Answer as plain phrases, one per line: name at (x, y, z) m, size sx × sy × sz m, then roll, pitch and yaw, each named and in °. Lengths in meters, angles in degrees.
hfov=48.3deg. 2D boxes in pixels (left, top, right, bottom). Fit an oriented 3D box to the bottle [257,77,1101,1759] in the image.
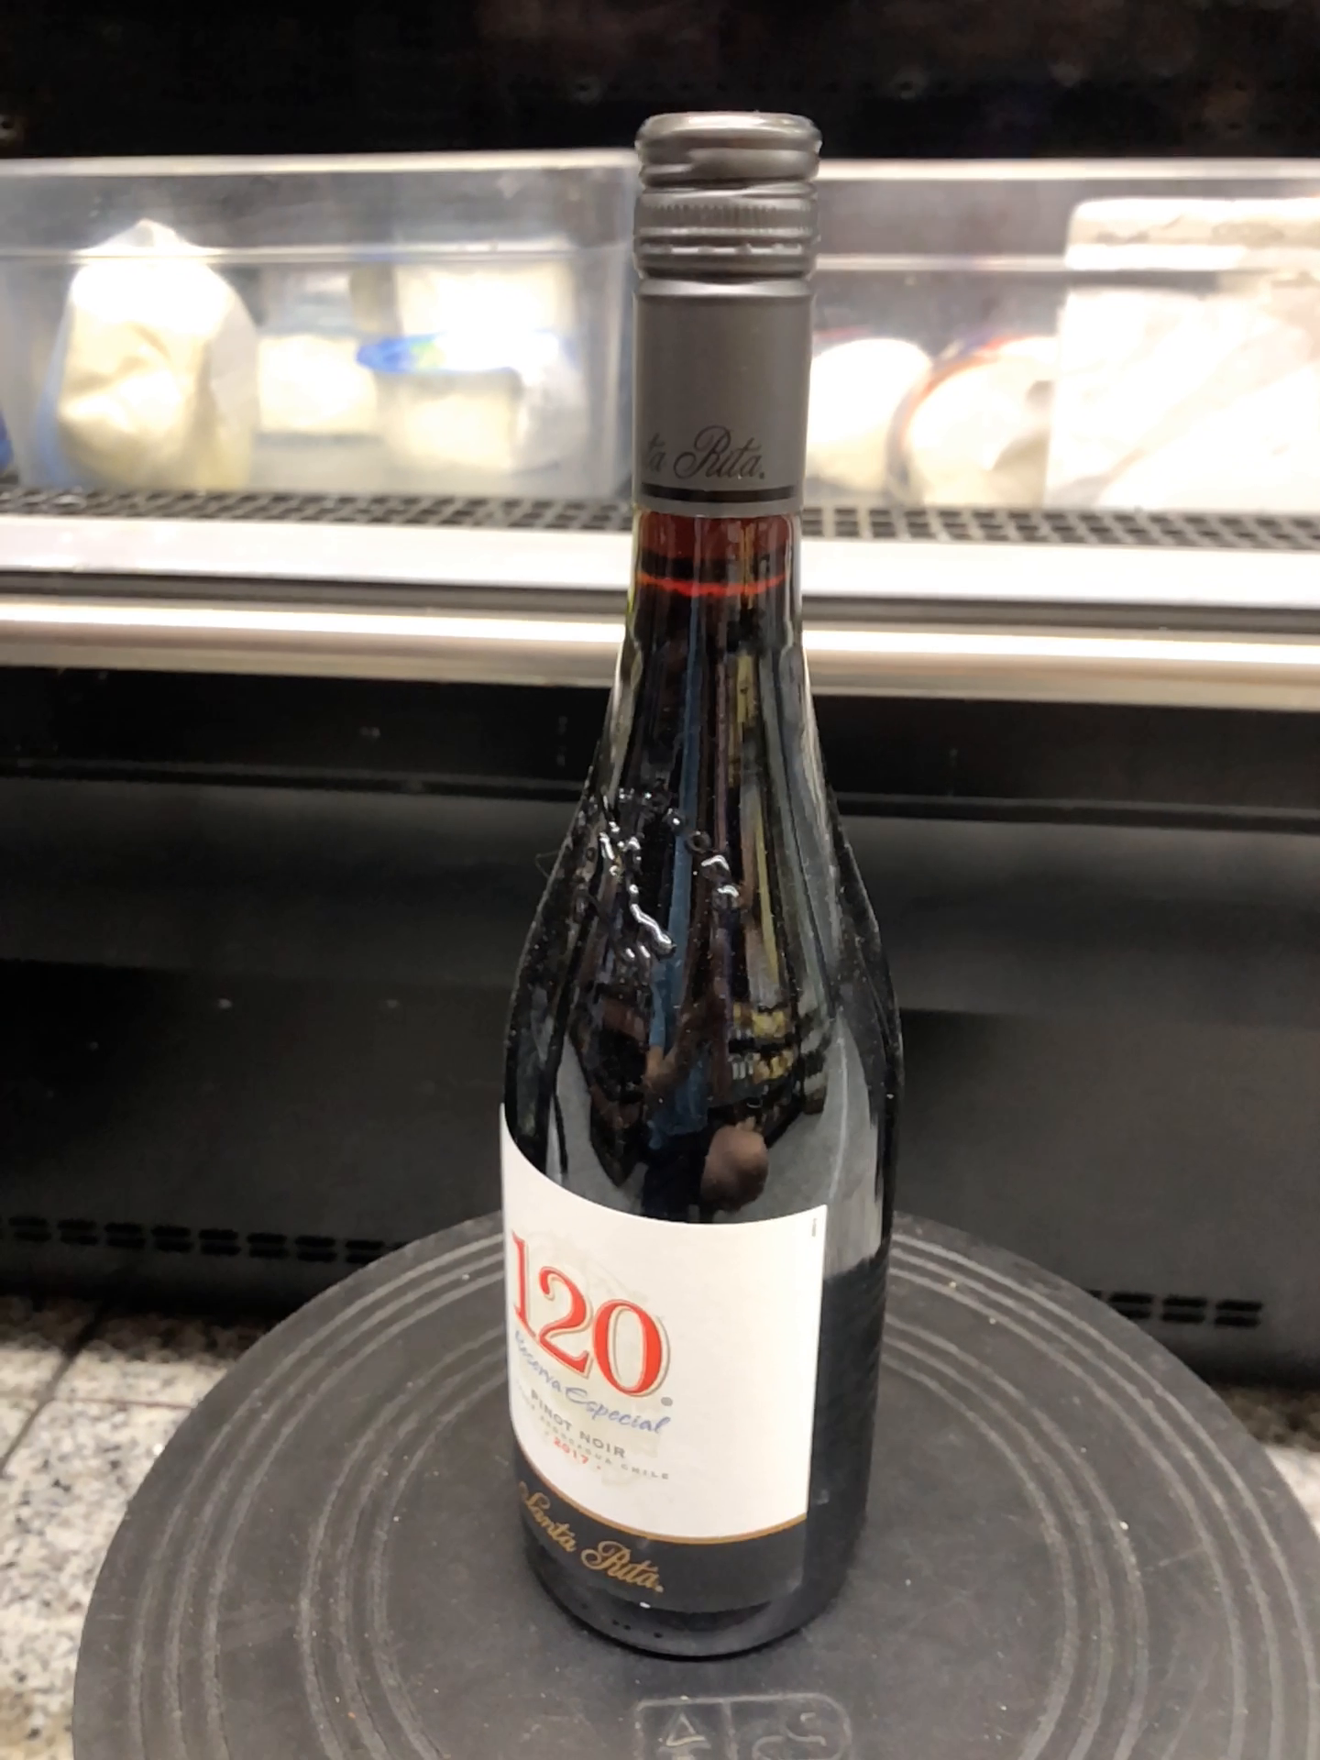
bottle at (0.004, 0.016, 0.280) m, size 0.090 × 0.288 × 0.090 m, roll 0°, pitch 24°, yaw 0°
